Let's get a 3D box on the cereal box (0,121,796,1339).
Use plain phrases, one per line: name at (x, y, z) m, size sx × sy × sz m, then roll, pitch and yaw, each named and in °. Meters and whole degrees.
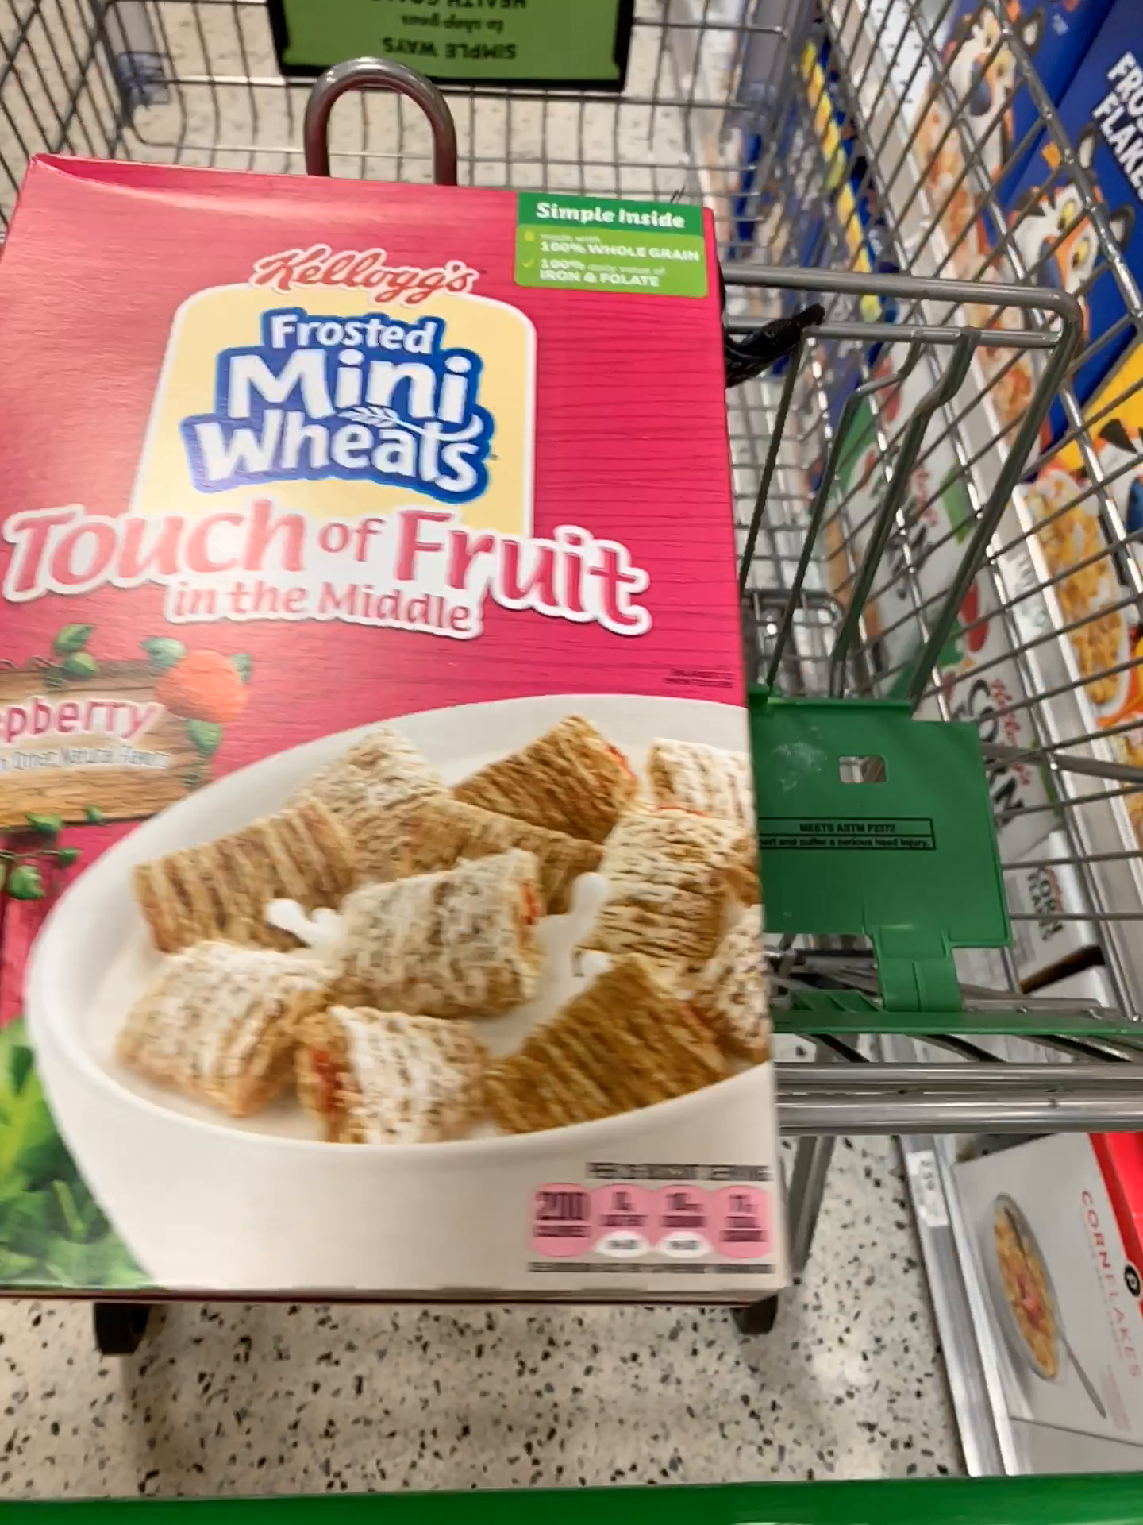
cereal box at (-0.063, -0.025, 0.283) m, size 0.200 × 0.050 × 0.292 m, roll 2°, pitch 64°, yaw -5°
